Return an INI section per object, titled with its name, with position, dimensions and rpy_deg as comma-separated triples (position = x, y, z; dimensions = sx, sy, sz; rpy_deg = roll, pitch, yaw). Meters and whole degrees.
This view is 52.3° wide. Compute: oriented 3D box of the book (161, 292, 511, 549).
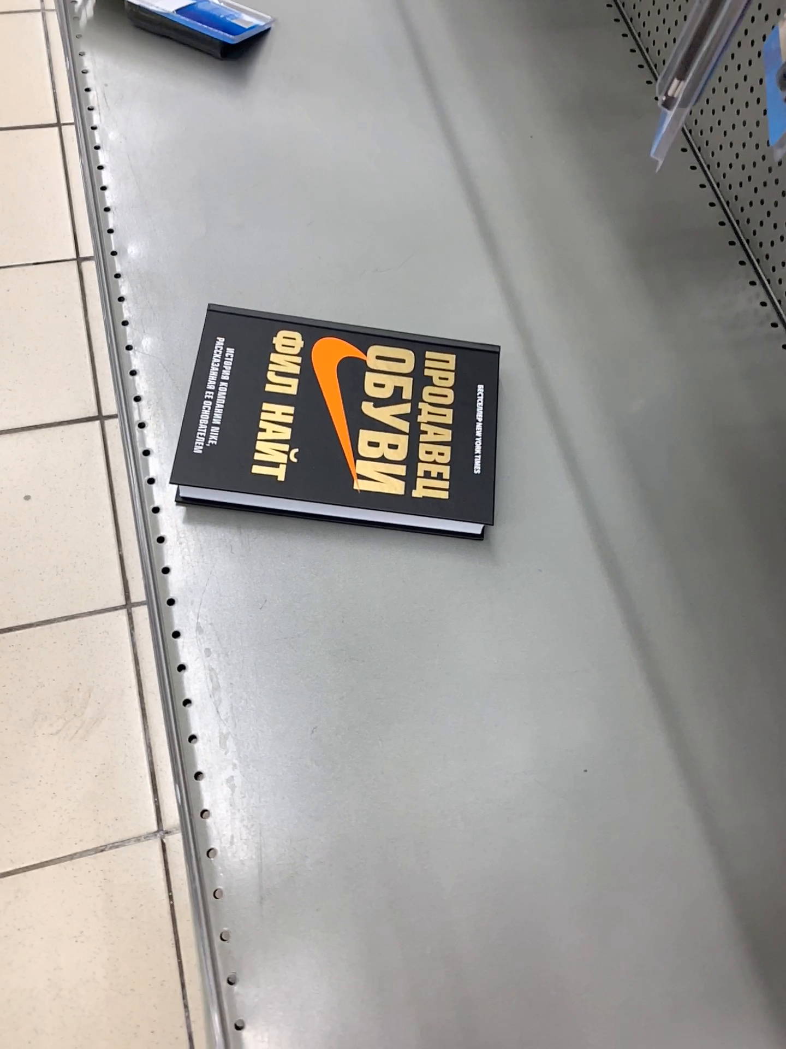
[book]
position = -0.037, -0.083, 0.634
dimensions = 0.250, 0.042, 0.170
rpy_deg = 8, 65, -4
